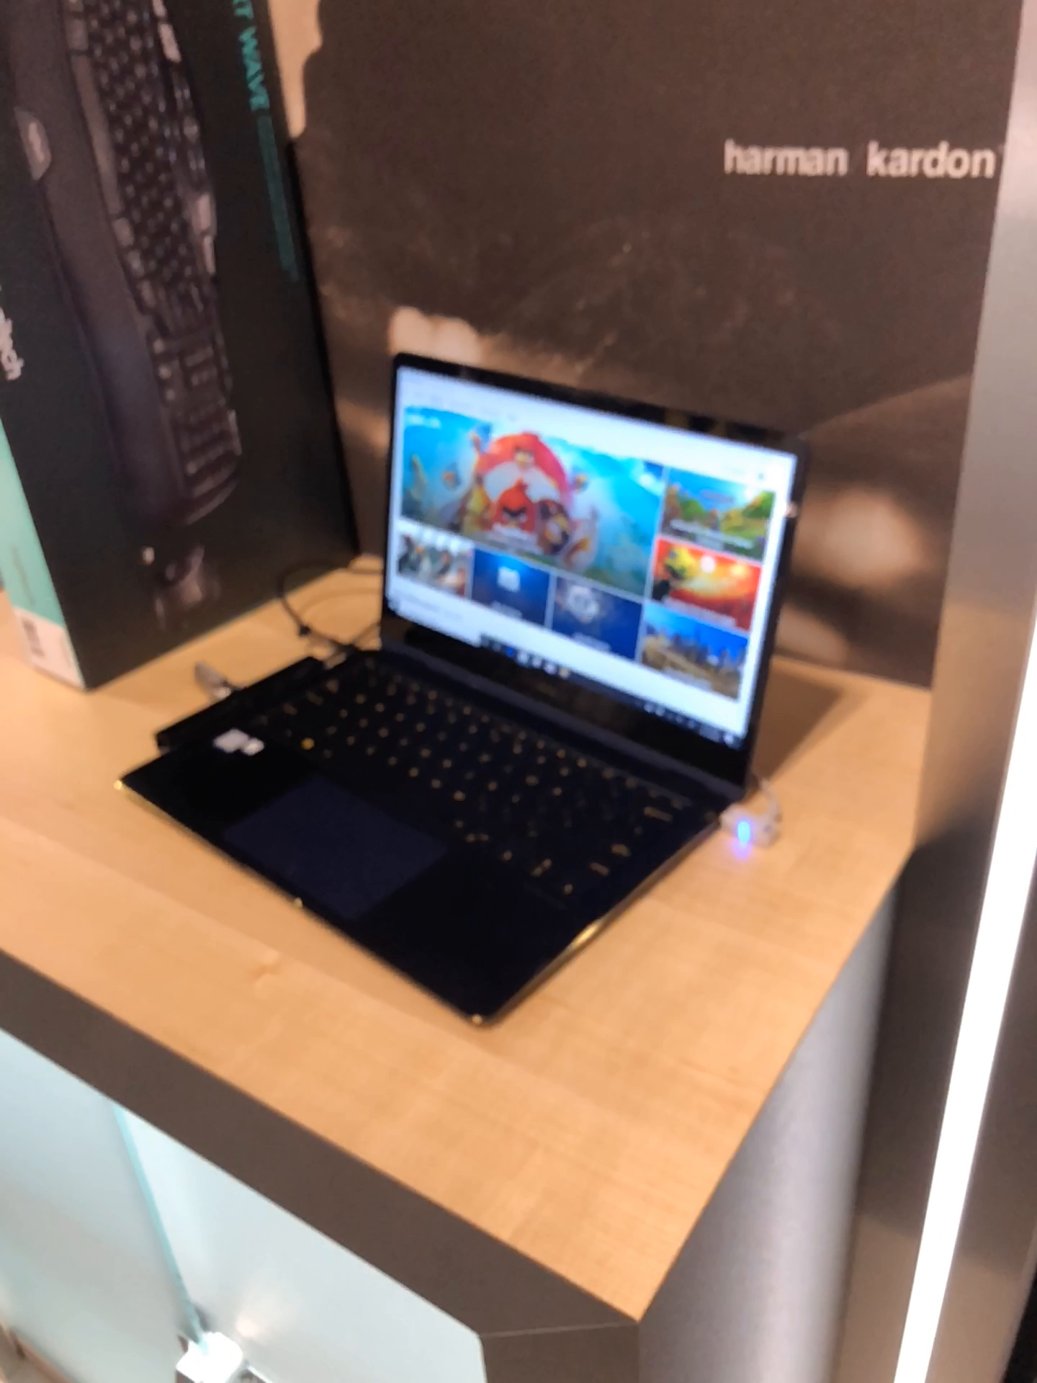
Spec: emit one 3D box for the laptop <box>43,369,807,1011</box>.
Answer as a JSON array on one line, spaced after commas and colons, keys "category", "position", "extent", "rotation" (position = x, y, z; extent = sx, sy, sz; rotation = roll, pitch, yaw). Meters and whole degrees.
[{"category": "laptop", "position": [-0.045, -0.032, 0.633], "extent": [0.292, 0.190, 0.248], "rotation": [22, 39, 37]}]
